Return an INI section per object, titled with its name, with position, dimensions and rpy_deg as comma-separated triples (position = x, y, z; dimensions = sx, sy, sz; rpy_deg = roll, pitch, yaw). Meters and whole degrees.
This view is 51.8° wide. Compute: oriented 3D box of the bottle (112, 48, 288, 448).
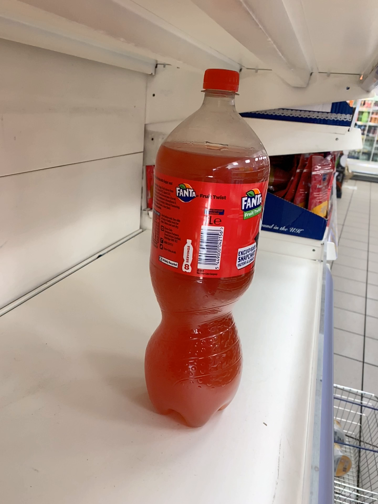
[bottle]
position = 0.006, 0.001, 0.371
dimensions = 0.110, 0.328, 0.121
rpy_deg = 5, 20, -2
